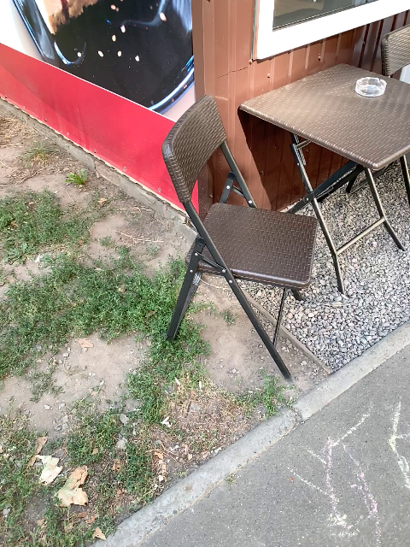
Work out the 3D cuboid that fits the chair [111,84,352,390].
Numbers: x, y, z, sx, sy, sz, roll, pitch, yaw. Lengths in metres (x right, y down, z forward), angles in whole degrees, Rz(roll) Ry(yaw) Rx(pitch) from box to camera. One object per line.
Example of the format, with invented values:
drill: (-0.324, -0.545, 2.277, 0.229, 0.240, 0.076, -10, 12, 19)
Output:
chair: (0.106, -0.100, 1.222, 0.470, 0.687, 0.472, 10, 45, 13)
